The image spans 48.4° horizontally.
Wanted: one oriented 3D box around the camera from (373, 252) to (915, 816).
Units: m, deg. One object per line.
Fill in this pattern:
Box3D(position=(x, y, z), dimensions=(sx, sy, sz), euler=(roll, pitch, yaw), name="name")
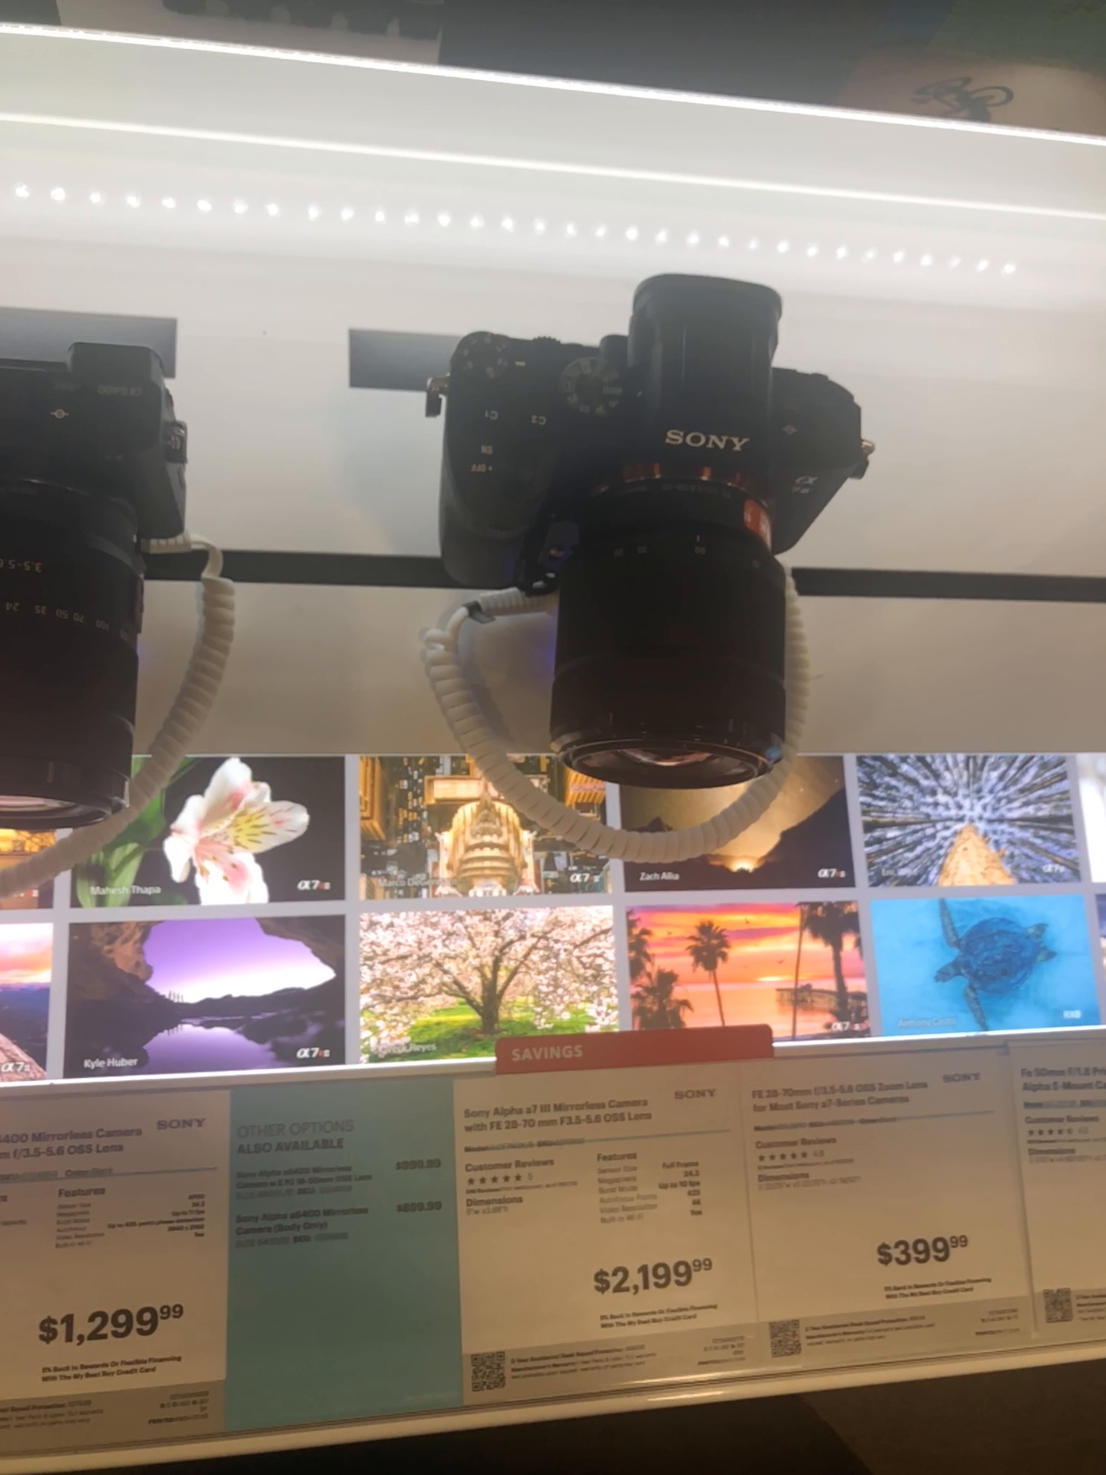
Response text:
Box3D(position=(0.019, -0.052, 0.375), dimensions=(0.140, 0.090, 0.140), euler=(1, 78, -11), name="camera")
